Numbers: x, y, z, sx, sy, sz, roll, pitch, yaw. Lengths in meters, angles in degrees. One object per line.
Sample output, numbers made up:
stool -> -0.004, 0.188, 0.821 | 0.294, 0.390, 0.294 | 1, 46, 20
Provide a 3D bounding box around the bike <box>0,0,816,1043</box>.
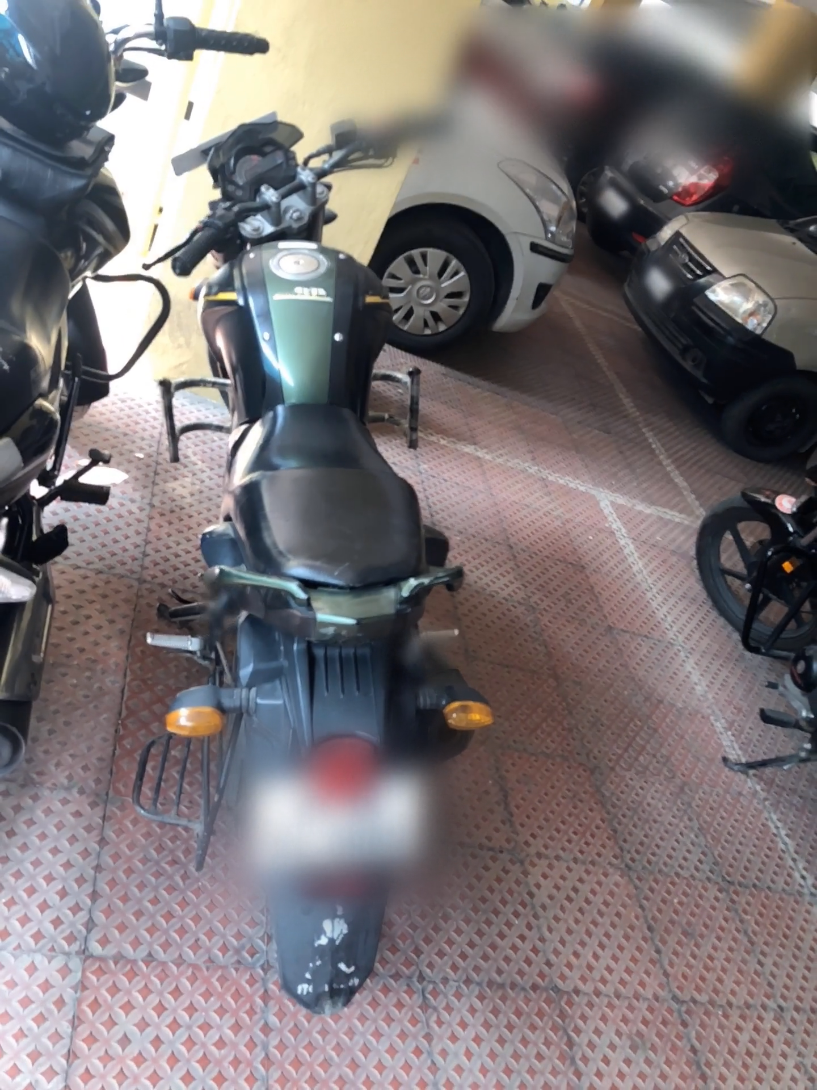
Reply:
bike -> -0.383, -0.231, 1.698 | 0.739, 1.090, 1.815 | 12, 33, -27
